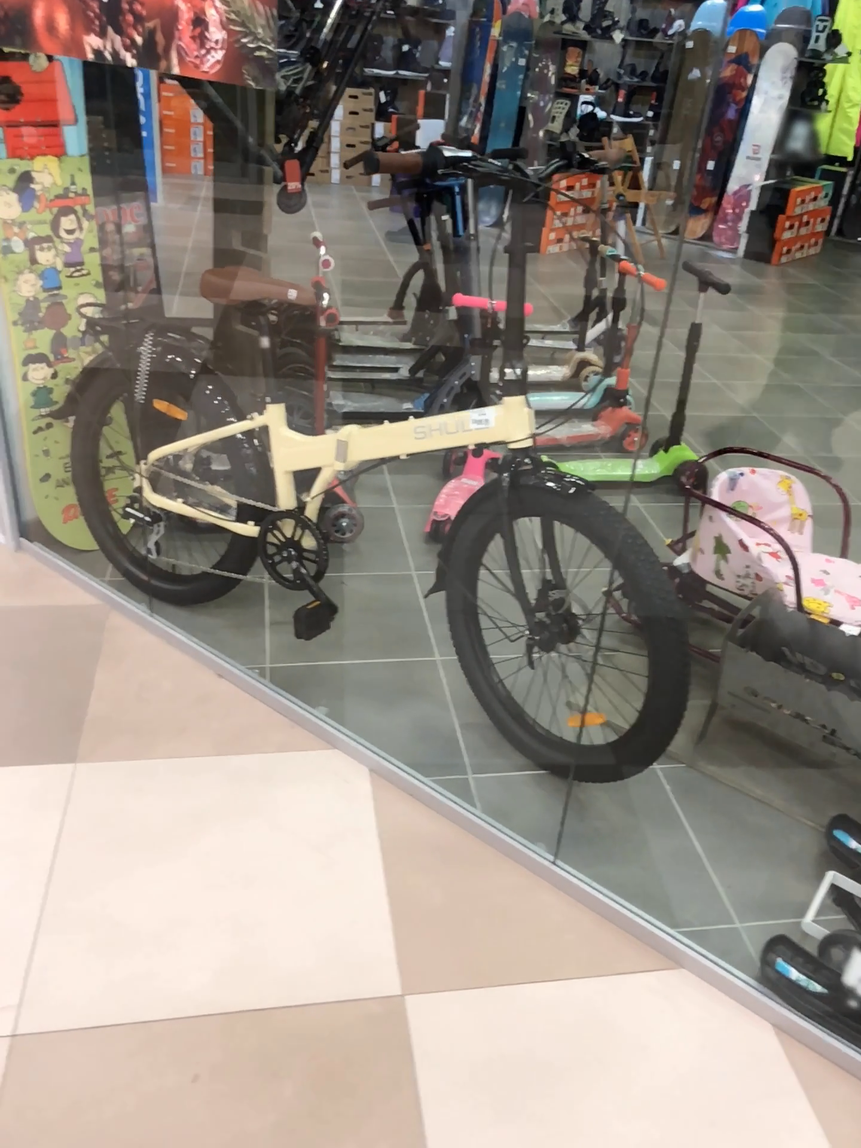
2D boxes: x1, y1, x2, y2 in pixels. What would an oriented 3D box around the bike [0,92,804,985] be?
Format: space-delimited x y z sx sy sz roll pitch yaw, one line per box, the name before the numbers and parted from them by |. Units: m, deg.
bike | -0.252 -0.248 1.953 1.705 1.175 0.595 22 33 27
